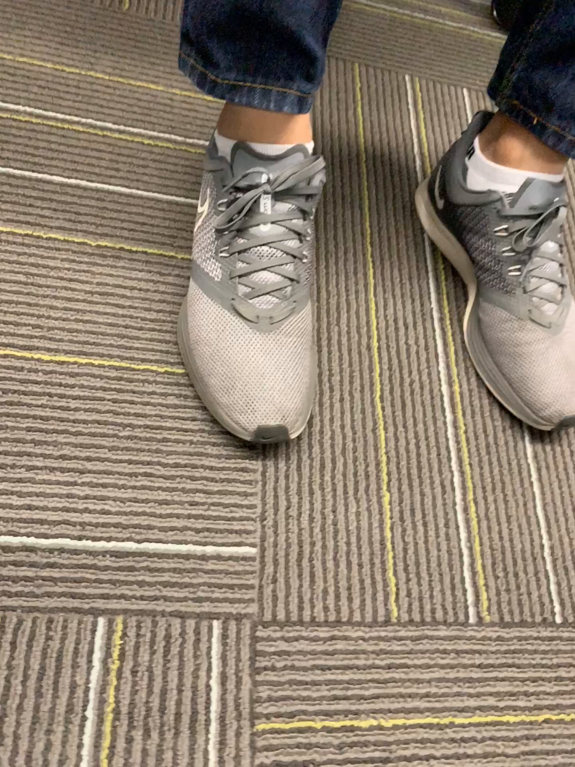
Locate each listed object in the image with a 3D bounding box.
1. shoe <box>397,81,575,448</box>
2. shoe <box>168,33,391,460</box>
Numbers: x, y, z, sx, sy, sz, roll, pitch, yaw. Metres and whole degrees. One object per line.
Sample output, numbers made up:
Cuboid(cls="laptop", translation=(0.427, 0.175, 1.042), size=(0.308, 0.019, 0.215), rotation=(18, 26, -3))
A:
Cuboid(cls="shoe", translation=(0.219, -0.109, 0.525), size=(0.120, 0.123, 0.290), rotation=(-9, 69, -18))
Cuboid(cls="shoe", translation=(-0.024, -0.101, 0.451), size=(0.120, 0.123, 0.290), rotation=(0, 66, -14))
